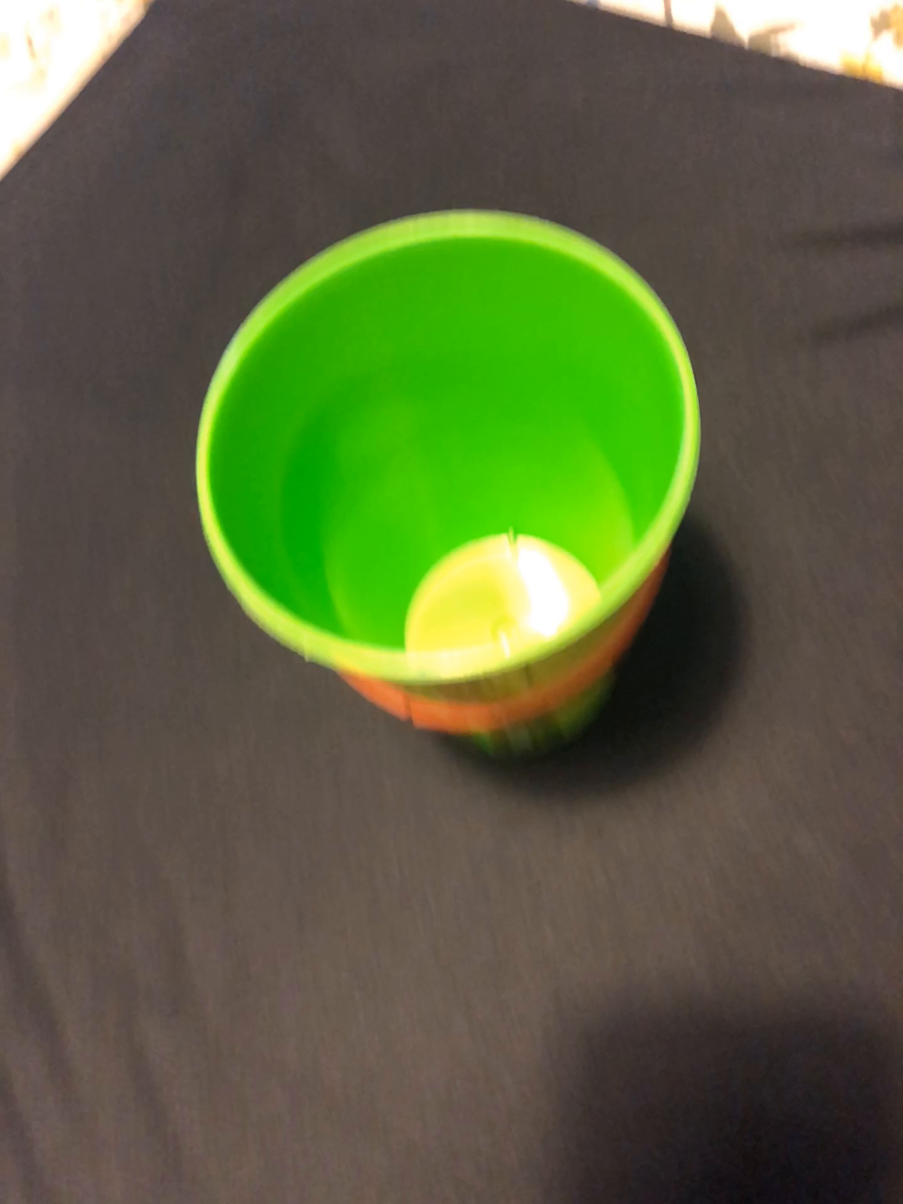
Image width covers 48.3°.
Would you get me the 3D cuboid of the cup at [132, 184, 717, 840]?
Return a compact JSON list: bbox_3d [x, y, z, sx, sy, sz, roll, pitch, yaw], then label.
[{"bbox_3d":[0.007,-0.007,0.253,0.100,0.140,0.110,0,70,9],"label":"cup"}]
